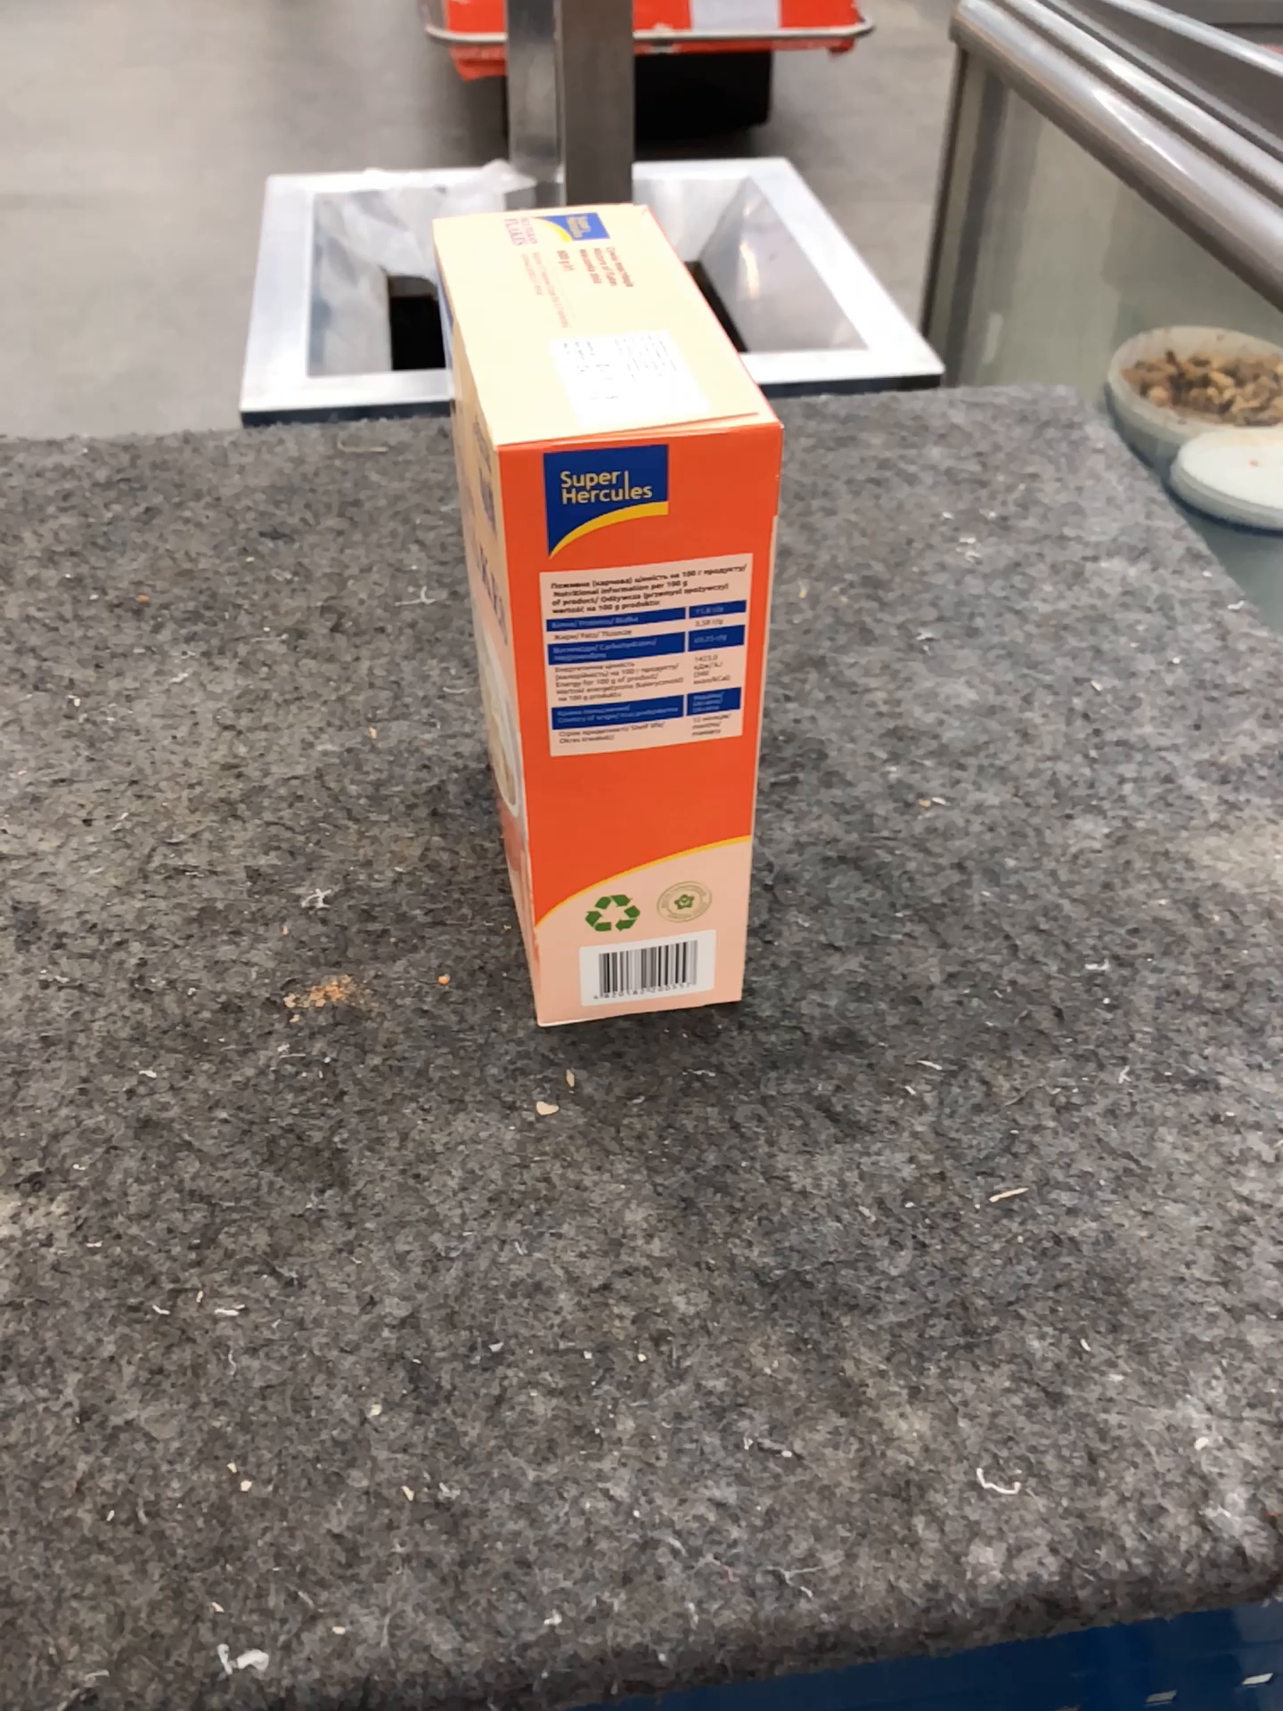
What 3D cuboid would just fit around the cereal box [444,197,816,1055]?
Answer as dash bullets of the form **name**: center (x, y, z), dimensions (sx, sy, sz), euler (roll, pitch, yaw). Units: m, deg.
- **cereal box**: center (-0.007, -0.067, 0.426), dimensions (0.070, 0.199, 0.151), euler (-8, 42, -7)
